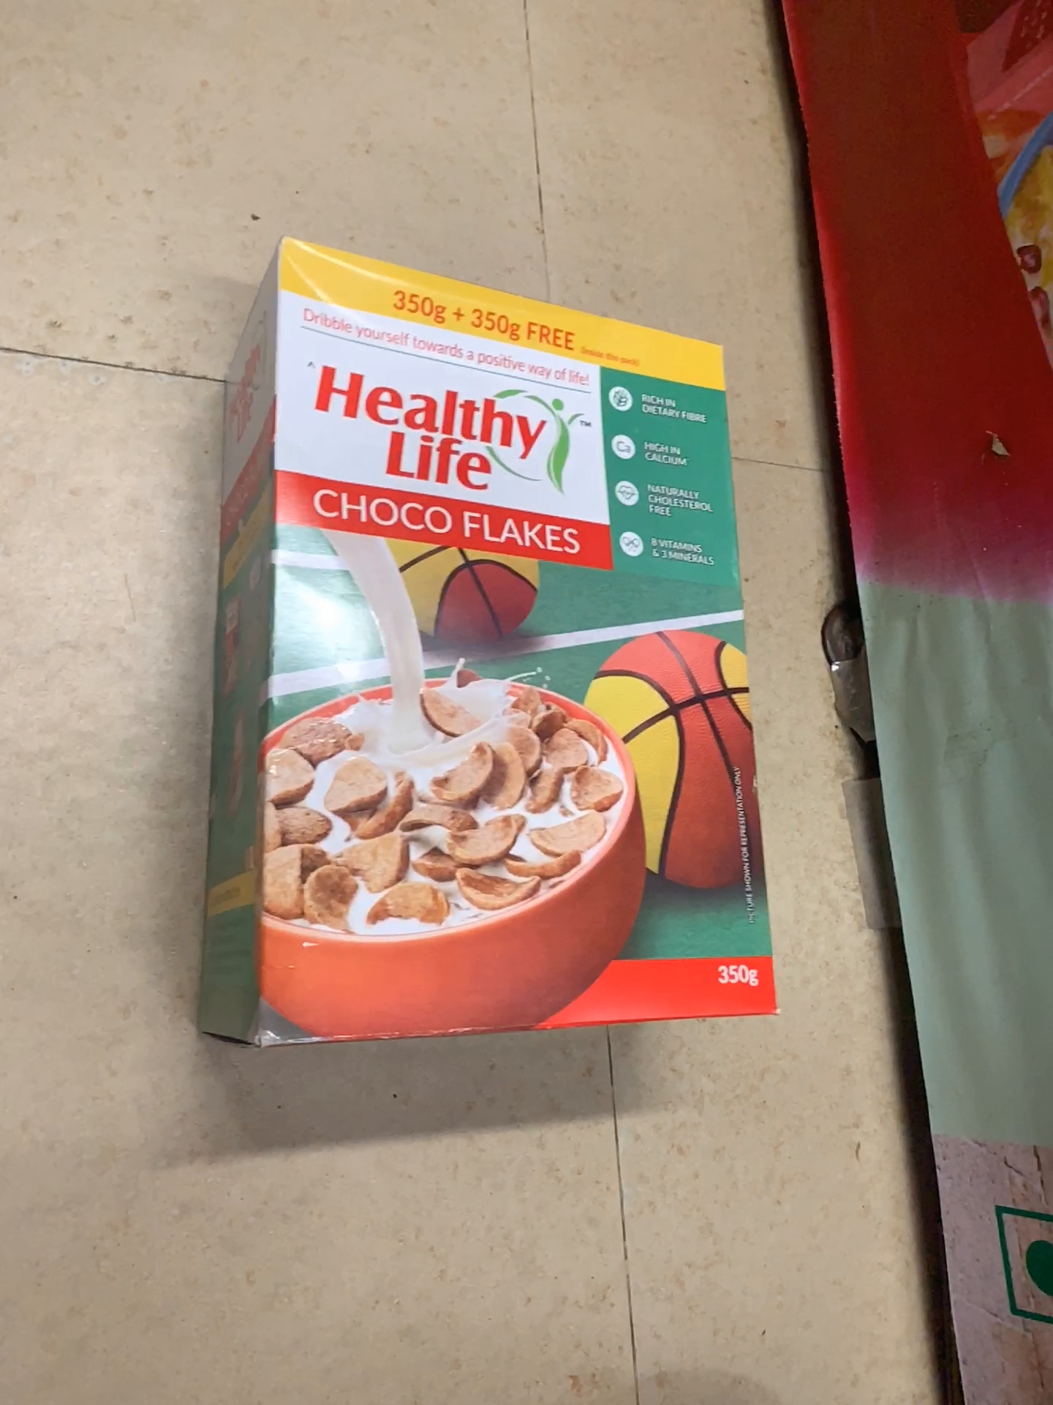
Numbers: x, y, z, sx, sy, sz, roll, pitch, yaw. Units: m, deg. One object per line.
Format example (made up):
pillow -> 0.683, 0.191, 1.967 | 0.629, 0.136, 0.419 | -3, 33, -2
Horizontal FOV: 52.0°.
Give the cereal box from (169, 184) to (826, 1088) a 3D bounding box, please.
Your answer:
cereal box -> -0.018, -0.014, 0.408 | 0.201, 0.110, 0.280 | 4, 74, -25
